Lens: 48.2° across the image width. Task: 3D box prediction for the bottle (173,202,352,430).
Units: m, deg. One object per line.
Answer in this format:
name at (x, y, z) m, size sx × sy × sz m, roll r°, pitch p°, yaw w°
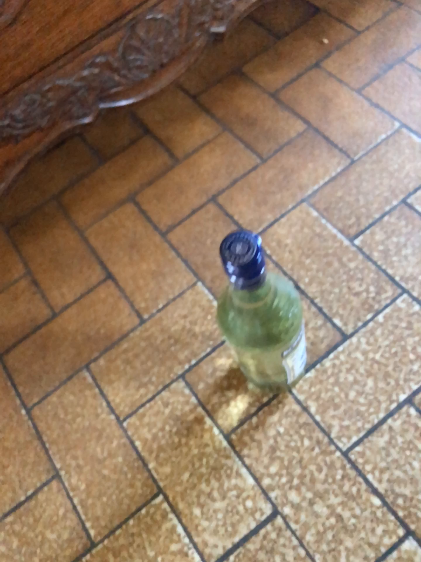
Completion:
bottle at (0.067, 0.058, 0.462) m, size 0.100 × 0.299 × 0.100 m, roll -5°, pitch 64°, yaw 10°
